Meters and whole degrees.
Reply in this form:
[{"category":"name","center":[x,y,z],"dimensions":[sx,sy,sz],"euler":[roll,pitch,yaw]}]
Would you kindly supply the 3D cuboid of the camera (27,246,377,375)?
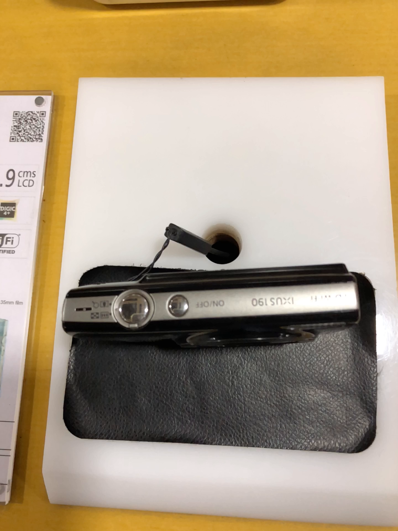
[{"category":"camera","center":[0.000,0.018,0.154],"dimensions":[0.100,0.050,0.030],"euler":[-5,78,2]}]
